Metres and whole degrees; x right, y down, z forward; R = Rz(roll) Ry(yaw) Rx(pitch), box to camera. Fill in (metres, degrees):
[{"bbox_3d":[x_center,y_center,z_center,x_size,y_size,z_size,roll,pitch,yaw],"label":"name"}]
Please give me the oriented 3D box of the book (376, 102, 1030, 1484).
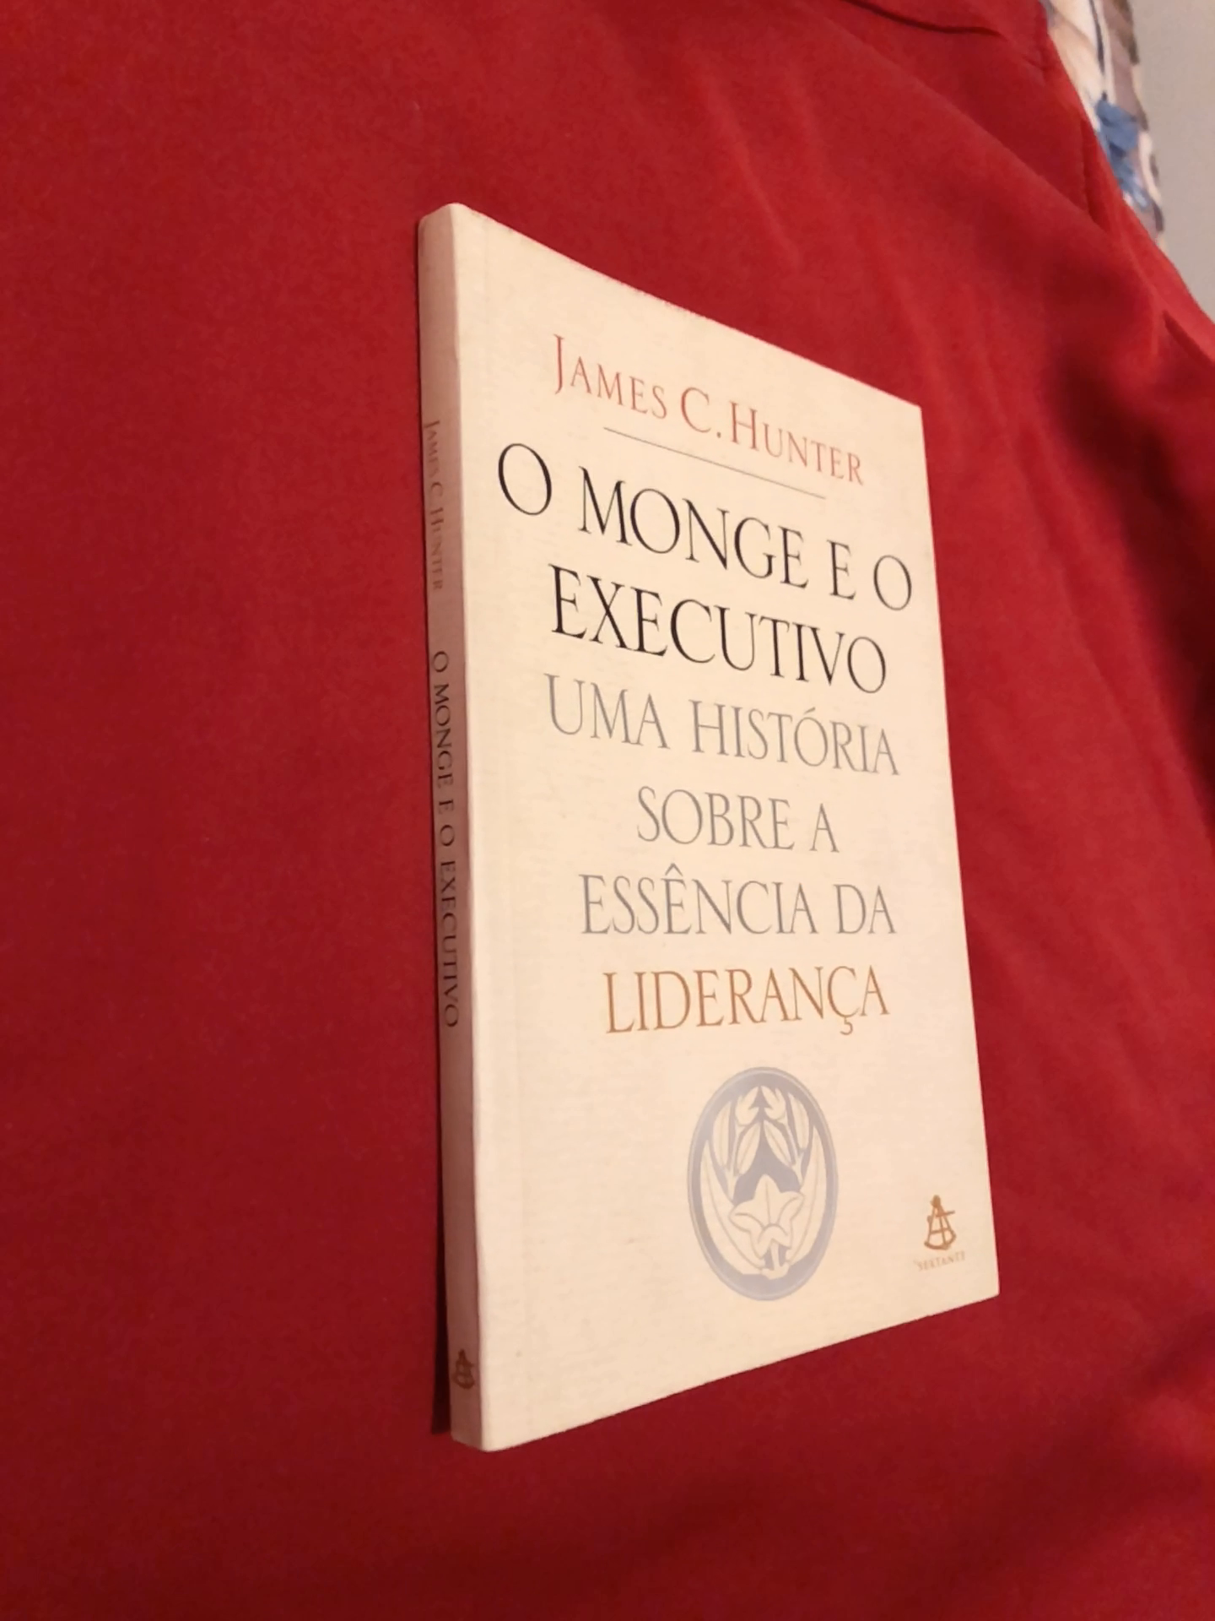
[{"bbox_3d":[0.024,-0.005,0.270,0.141,0.030,0.220,6,77,-43],"label":"book"}]
